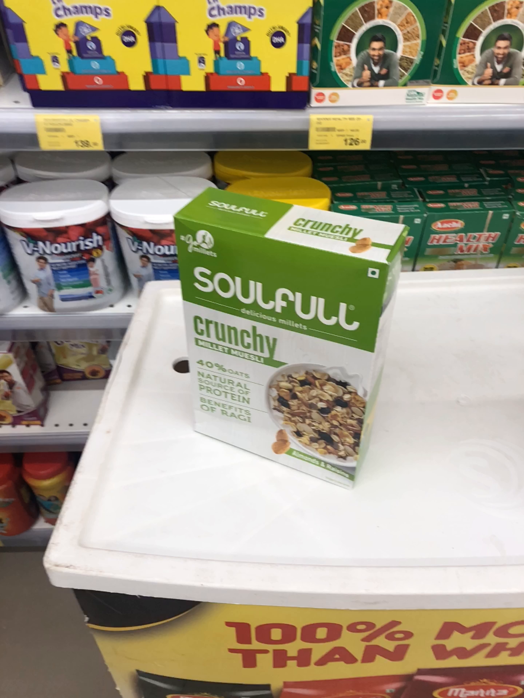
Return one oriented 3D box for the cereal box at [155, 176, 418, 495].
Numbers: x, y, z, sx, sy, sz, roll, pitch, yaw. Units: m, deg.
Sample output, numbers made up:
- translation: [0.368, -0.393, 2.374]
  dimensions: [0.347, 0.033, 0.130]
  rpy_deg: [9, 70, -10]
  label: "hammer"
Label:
- translation: [0.020, -0.004, 0.509]
  dimensions: [0.180, 0.249, 0.070]
  rpy_deg: [17, 45, 21]
  label: "cereal box"
